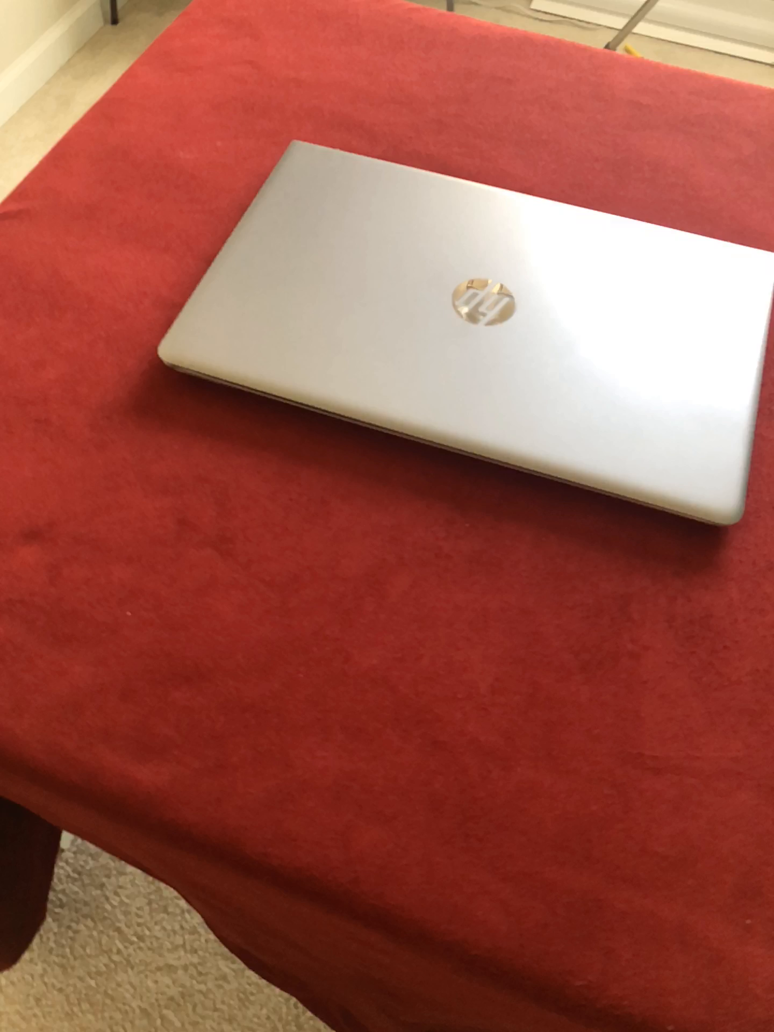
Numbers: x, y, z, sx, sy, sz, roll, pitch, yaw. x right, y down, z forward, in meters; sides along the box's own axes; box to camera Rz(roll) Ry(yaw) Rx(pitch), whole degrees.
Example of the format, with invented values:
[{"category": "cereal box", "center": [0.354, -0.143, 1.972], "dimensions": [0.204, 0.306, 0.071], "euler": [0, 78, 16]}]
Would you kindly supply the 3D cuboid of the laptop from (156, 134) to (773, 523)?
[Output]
[{"category": "laptop", "center": [0.066, -0.146, 0.579], "dimensions": [0.372, 0.006, 0.234], "euler": [17, 60, 8]}]
